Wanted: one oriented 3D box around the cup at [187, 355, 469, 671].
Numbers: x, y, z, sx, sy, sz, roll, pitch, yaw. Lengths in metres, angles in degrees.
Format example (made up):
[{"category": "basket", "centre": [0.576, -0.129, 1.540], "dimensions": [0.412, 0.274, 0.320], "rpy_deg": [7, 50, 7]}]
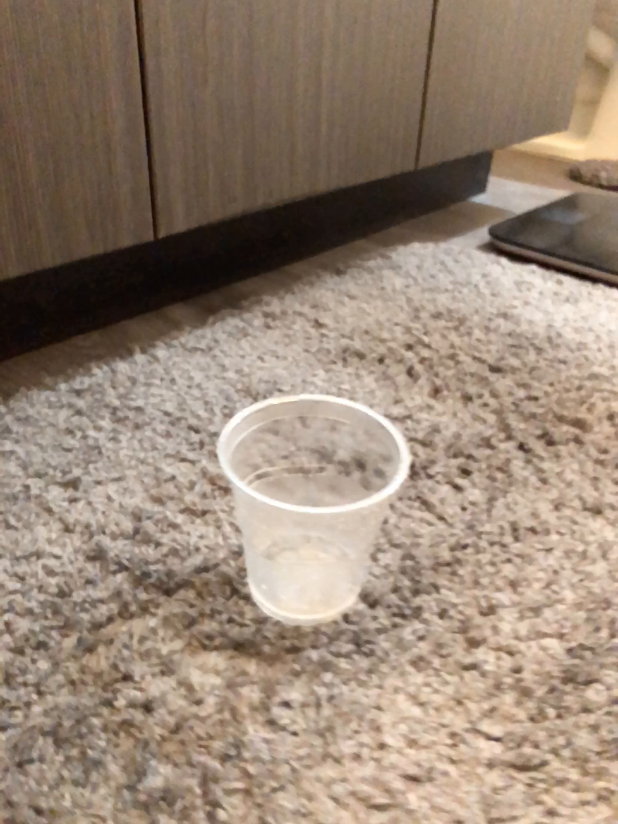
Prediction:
[{"category": "cup", "centre": [0.004, 0.041, 0.324], "dimensions": [0.090, 0.090, 0.090], "rpy_deg": [2, 32, -1]}]
